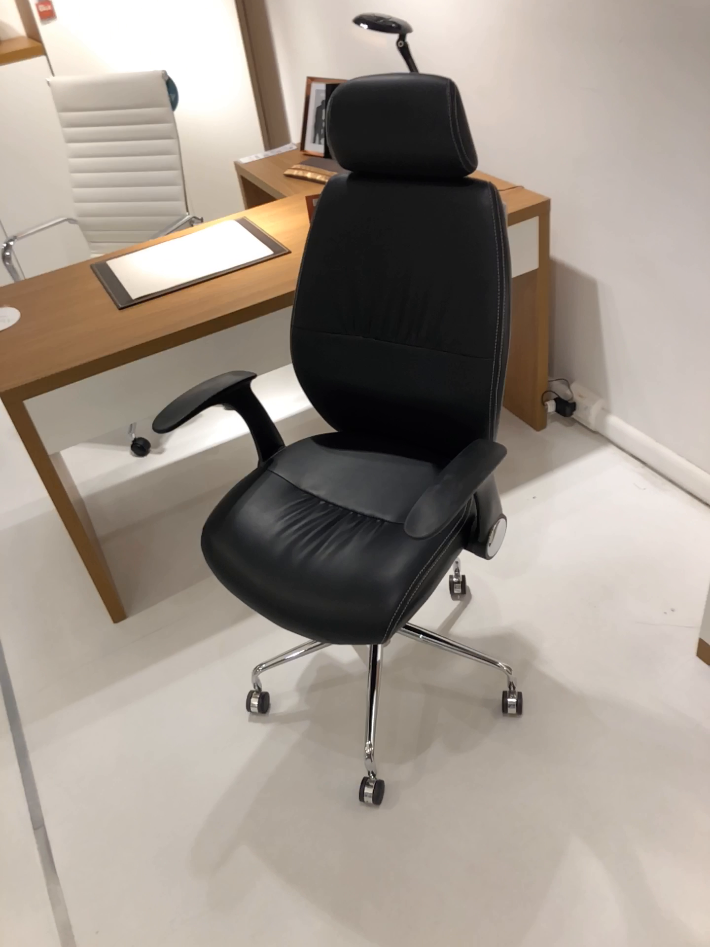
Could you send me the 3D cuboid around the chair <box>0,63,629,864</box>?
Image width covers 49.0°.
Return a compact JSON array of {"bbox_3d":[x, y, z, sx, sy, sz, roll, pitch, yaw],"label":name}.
[{"bbox_3d":[0.020,-0.003,1.564,0.692,1.300,0.714,20,49,31],"label":"chair"}]
